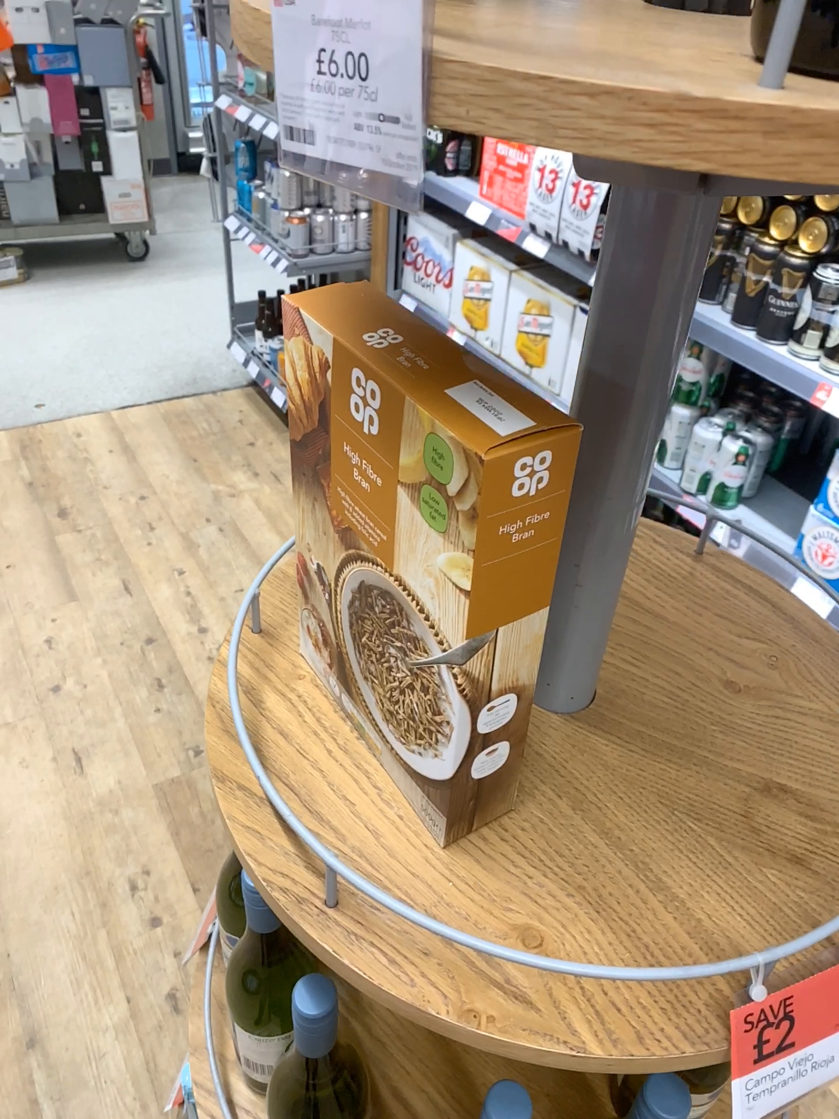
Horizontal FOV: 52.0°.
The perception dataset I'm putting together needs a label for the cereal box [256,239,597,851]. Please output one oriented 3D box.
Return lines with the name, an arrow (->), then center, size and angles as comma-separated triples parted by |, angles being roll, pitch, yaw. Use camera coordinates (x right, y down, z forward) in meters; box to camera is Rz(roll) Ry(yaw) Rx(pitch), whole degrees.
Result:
cereal box -> -0.014, -0.006, 0.487 | 0.060, 0.277, 0.201 | -19, 43, -27
